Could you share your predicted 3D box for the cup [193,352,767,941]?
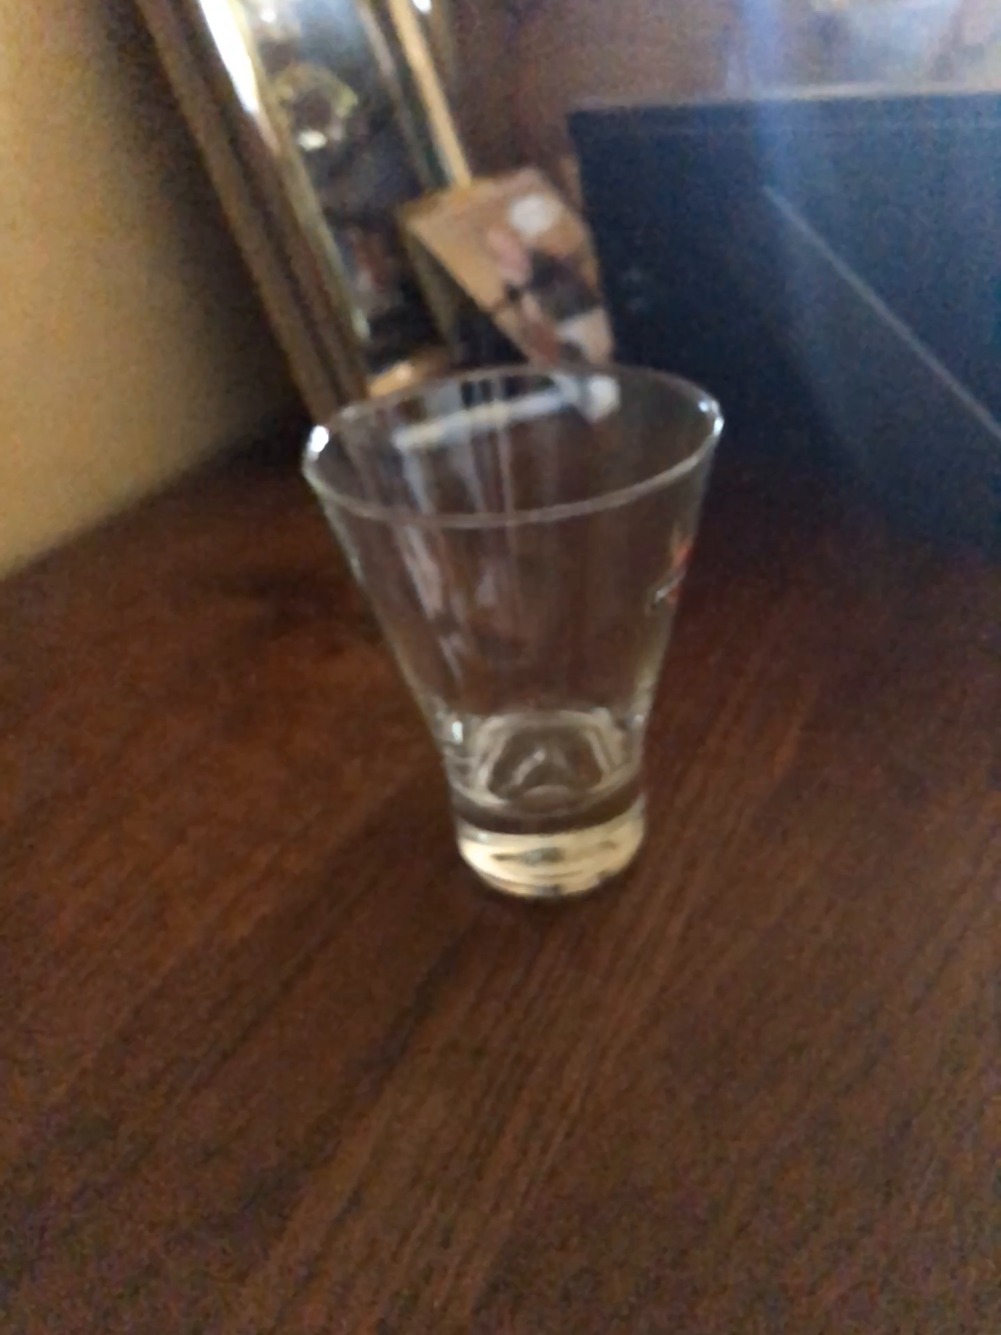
[{"bbox_3d":[0.005,-0.012,0.273,0.100,0.099,0.091,6,34,20],"label":"cup"}]
